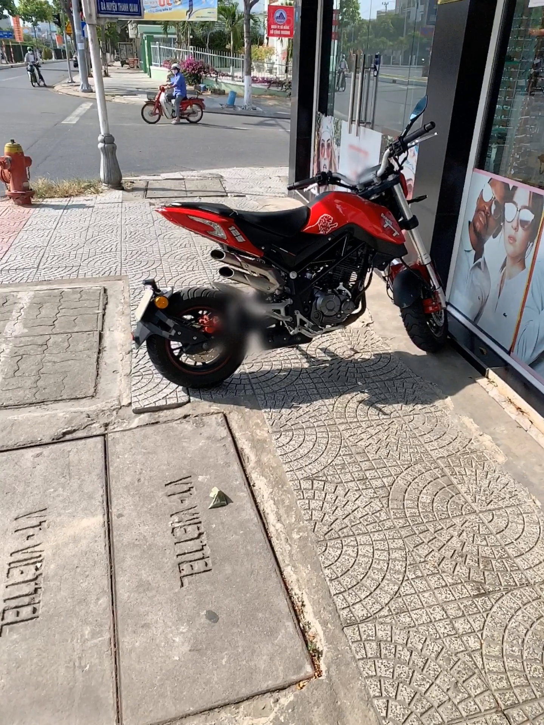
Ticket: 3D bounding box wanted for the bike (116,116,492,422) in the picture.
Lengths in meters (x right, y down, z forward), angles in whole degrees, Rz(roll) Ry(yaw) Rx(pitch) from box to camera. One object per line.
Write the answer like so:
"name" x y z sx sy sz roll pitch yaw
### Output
"bike" 0.235 -0.716 3.219 2.123 1.216 0.835 -16 32 -29
